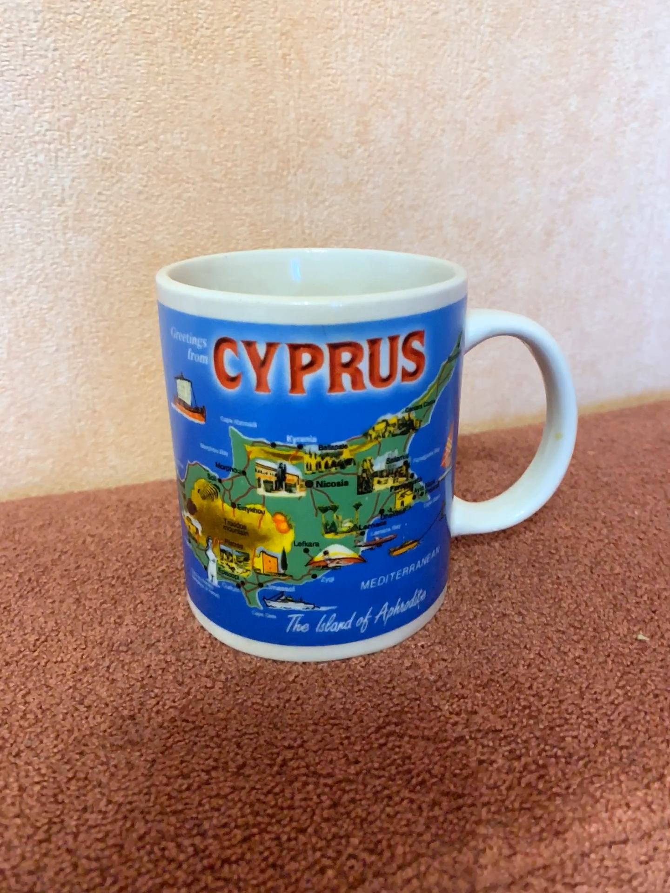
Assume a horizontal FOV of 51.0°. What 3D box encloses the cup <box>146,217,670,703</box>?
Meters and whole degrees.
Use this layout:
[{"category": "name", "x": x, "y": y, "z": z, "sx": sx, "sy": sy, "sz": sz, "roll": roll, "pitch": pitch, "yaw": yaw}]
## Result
[{"category": "cup", "x": 0.016, "y": -0.007, "z": 0.191, "sx": 0.118, "sy": 0.091, "sz": 0.085, "roll": -7, "pitch": 26, "yaw": -11}]
